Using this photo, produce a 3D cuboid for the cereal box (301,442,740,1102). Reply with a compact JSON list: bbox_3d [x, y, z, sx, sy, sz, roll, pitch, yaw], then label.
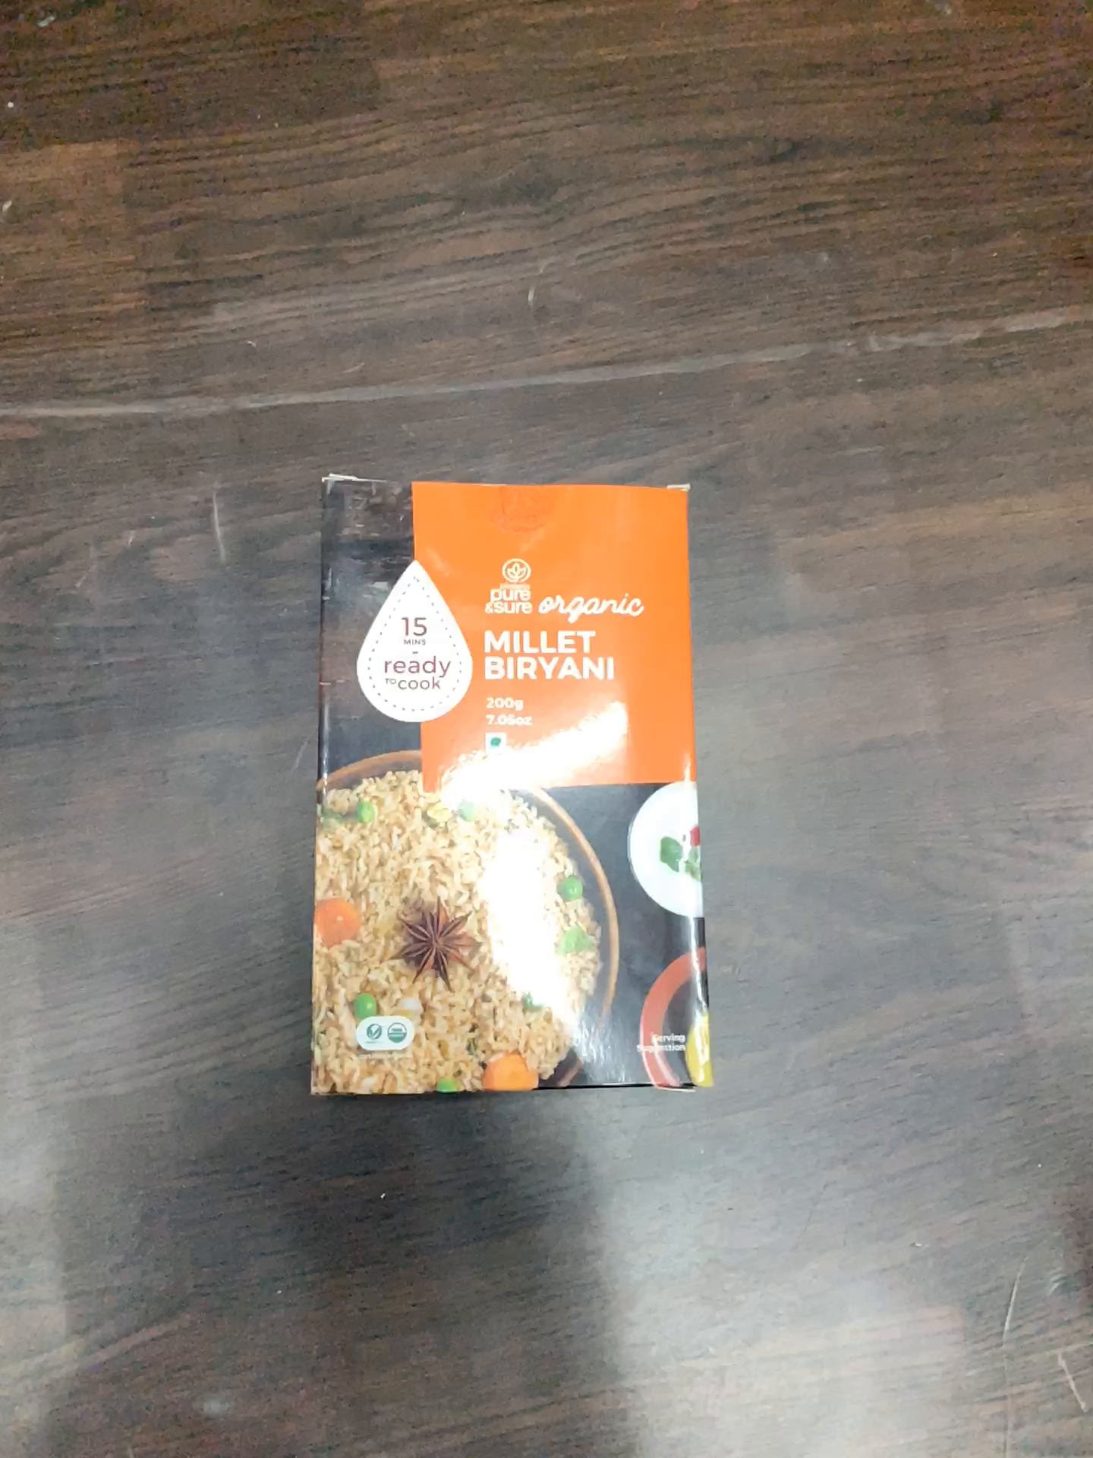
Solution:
[{"bbox_3d":[-0.009,0.011,0.319,0.110,0.050,0.170,0,80,-7],"label":"cereal box"}]
